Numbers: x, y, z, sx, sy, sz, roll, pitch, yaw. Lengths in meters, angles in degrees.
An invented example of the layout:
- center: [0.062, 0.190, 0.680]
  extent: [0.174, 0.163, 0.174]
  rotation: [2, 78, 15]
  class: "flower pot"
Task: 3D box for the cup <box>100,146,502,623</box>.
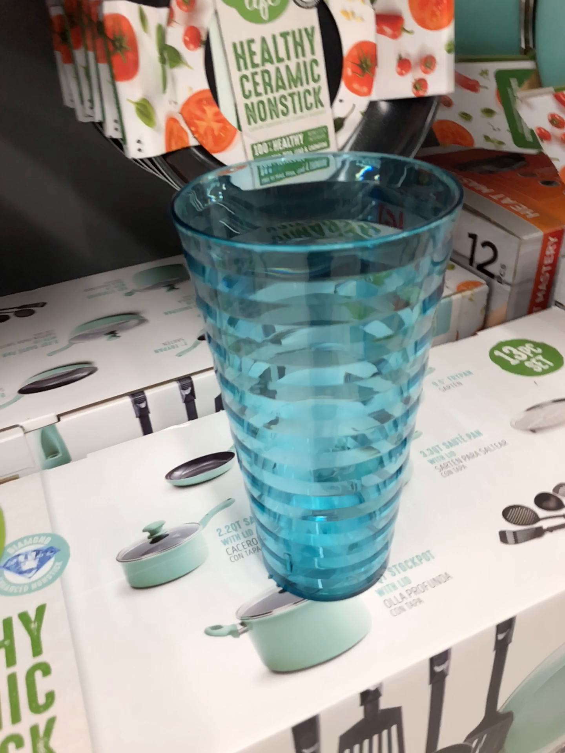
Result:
- center: [0.013, 0.001, 0.246]
  extent: [0.104, 0.151, 0.104]
  rotation: [-2, 35, 1]
  class: "cup"
